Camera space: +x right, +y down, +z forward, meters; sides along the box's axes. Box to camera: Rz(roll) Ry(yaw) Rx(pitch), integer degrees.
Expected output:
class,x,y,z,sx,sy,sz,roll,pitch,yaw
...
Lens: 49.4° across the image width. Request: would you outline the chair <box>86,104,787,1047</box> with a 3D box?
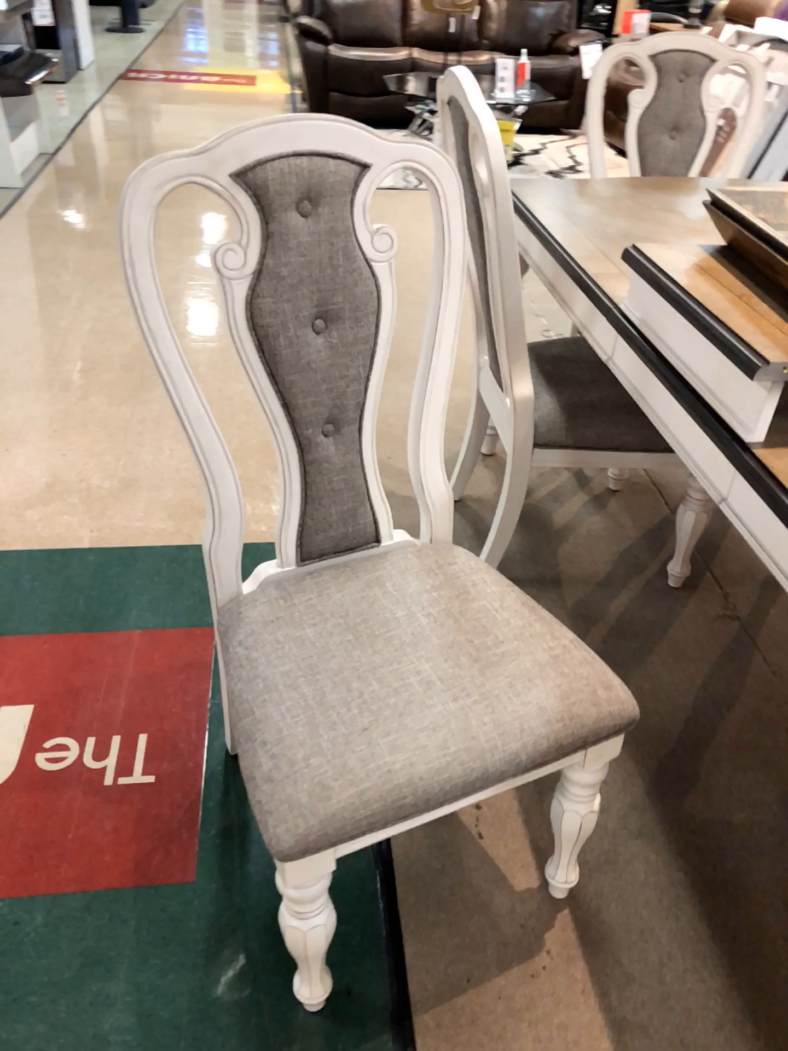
class,x,y,z,sx,sy,sz,roll,pitch,yaw
chair,-0.014,0.036,1.194,0.550,1.013,0.674,-13,38,-22
